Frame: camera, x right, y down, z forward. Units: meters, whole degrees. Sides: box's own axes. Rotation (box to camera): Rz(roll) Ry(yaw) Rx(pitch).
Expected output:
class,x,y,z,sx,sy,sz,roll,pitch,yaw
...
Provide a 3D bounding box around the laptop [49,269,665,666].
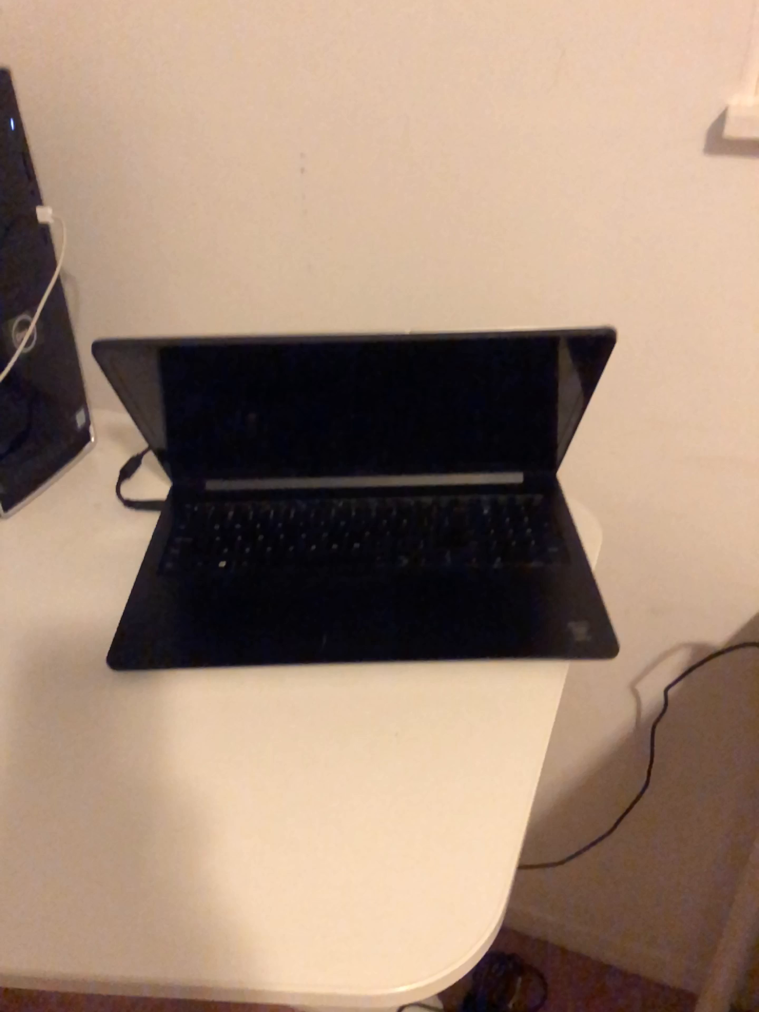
class,x,y,z,sx,sy,sz,roll,pitch,yaw
laptop,-0.015,-0.041,0.665,0.373,0.207,0.252,-2,33,1
